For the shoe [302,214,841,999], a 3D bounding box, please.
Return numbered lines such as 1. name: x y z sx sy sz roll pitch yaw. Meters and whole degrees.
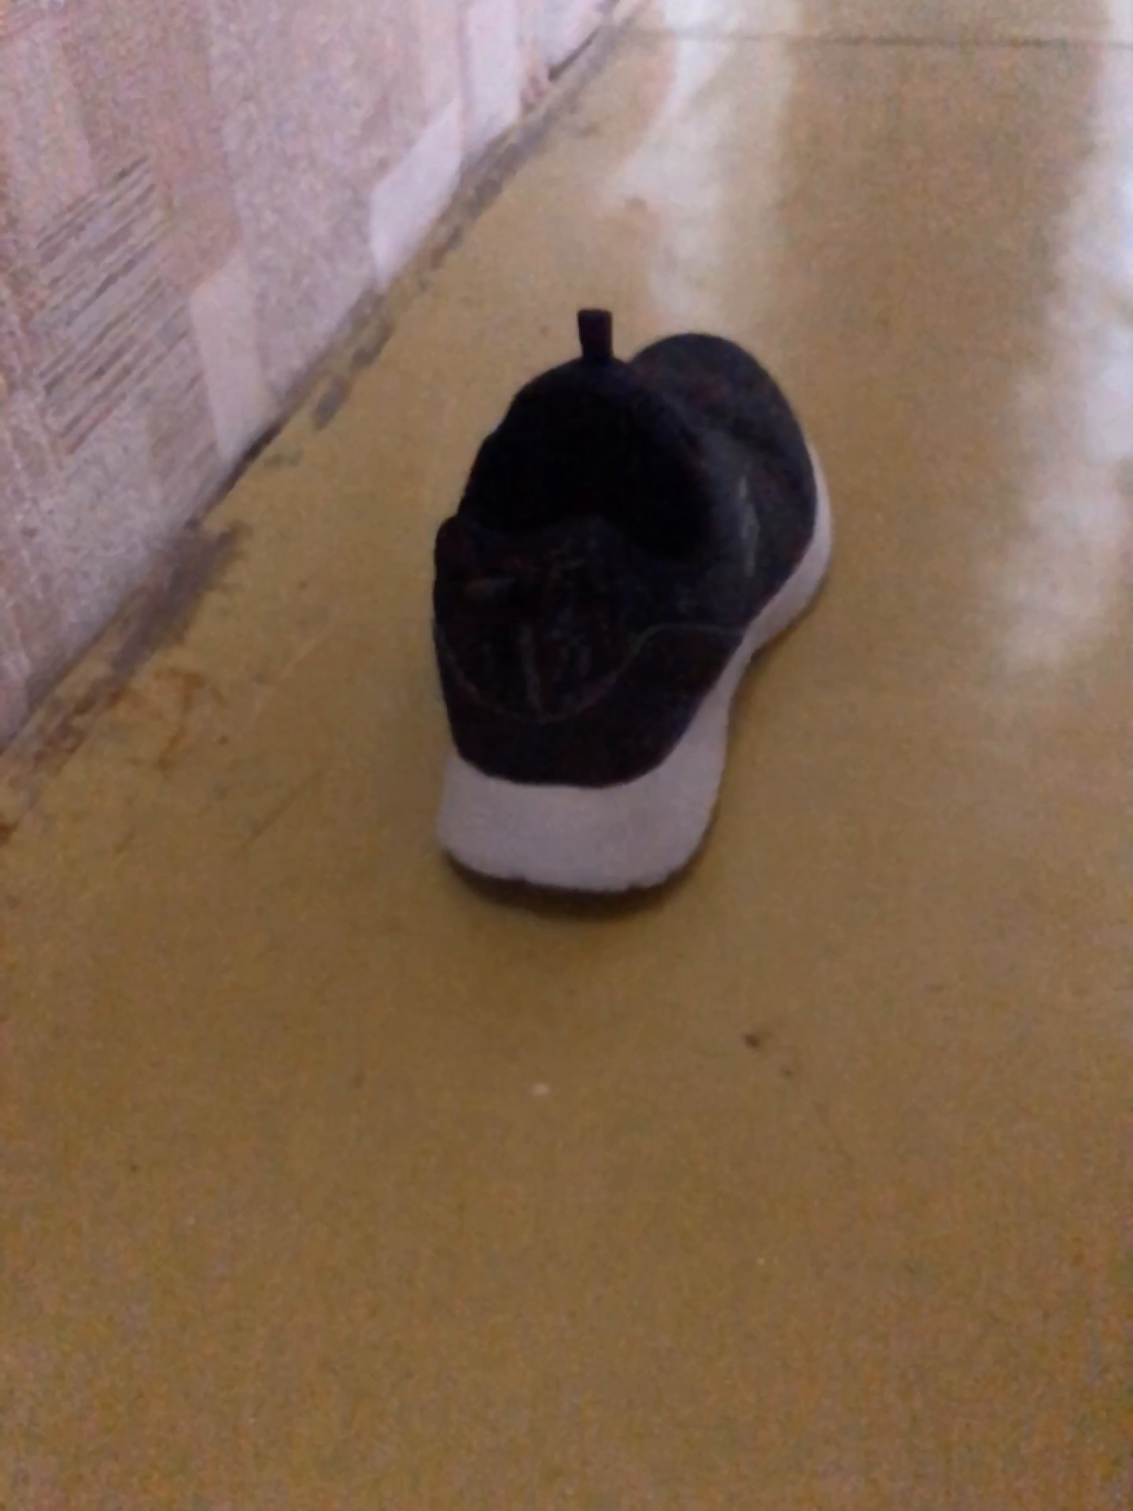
1. shoe: 0.025 -0.083 0.499 0.120 0.129 0.321 8 45 12
